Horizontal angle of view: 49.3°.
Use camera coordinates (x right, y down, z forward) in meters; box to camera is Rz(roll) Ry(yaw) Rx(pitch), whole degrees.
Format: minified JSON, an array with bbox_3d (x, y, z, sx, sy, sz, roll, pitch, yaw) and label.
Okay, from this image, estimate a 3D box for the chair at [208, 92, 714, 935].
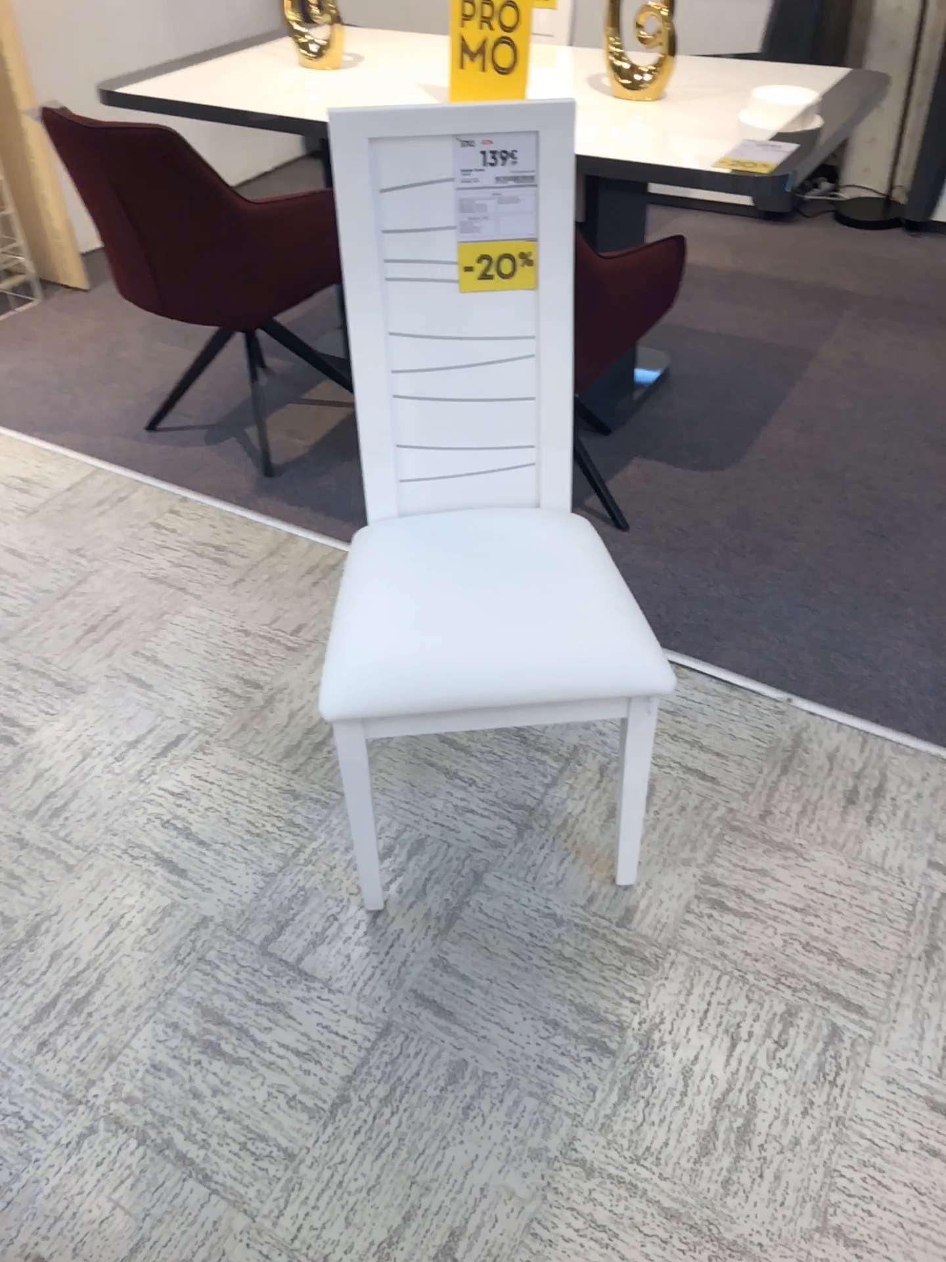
[{"bbox_3d":[-0.023,-0.124,1.441,0.450,1.004,0.543,-5,40,-4],"label":"chair"}]
